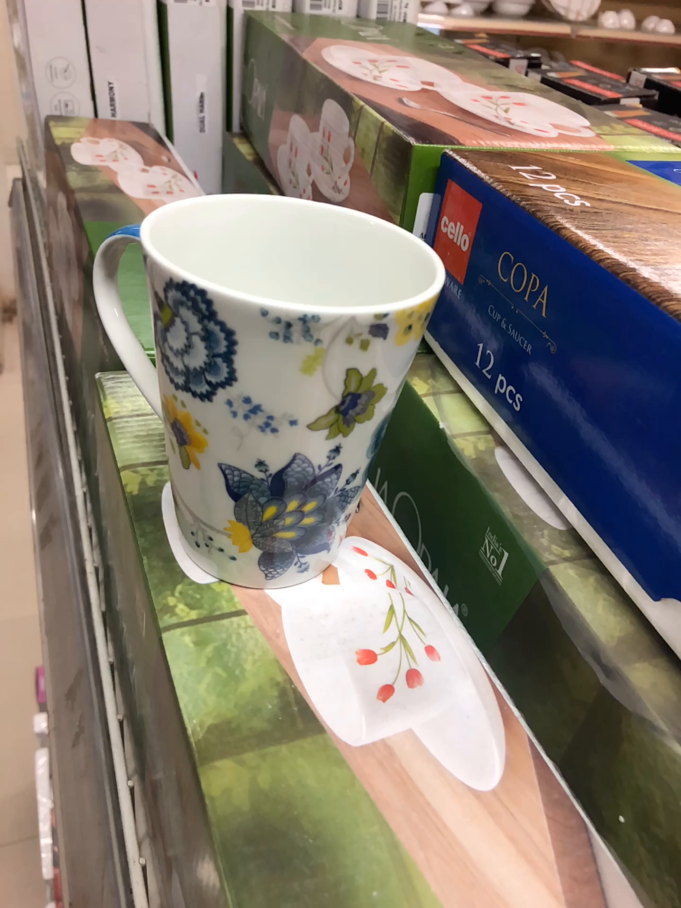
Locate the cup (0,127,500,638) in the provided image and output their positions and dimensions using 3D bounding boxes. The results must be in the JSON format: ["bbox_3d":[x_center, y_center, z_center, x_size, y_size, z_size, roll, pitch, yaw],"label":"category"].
[{"bbox_3d":[-0.031,-0.028,0.204,0.110,0.079,0.070,33,43,31],"label":"cup"}]
